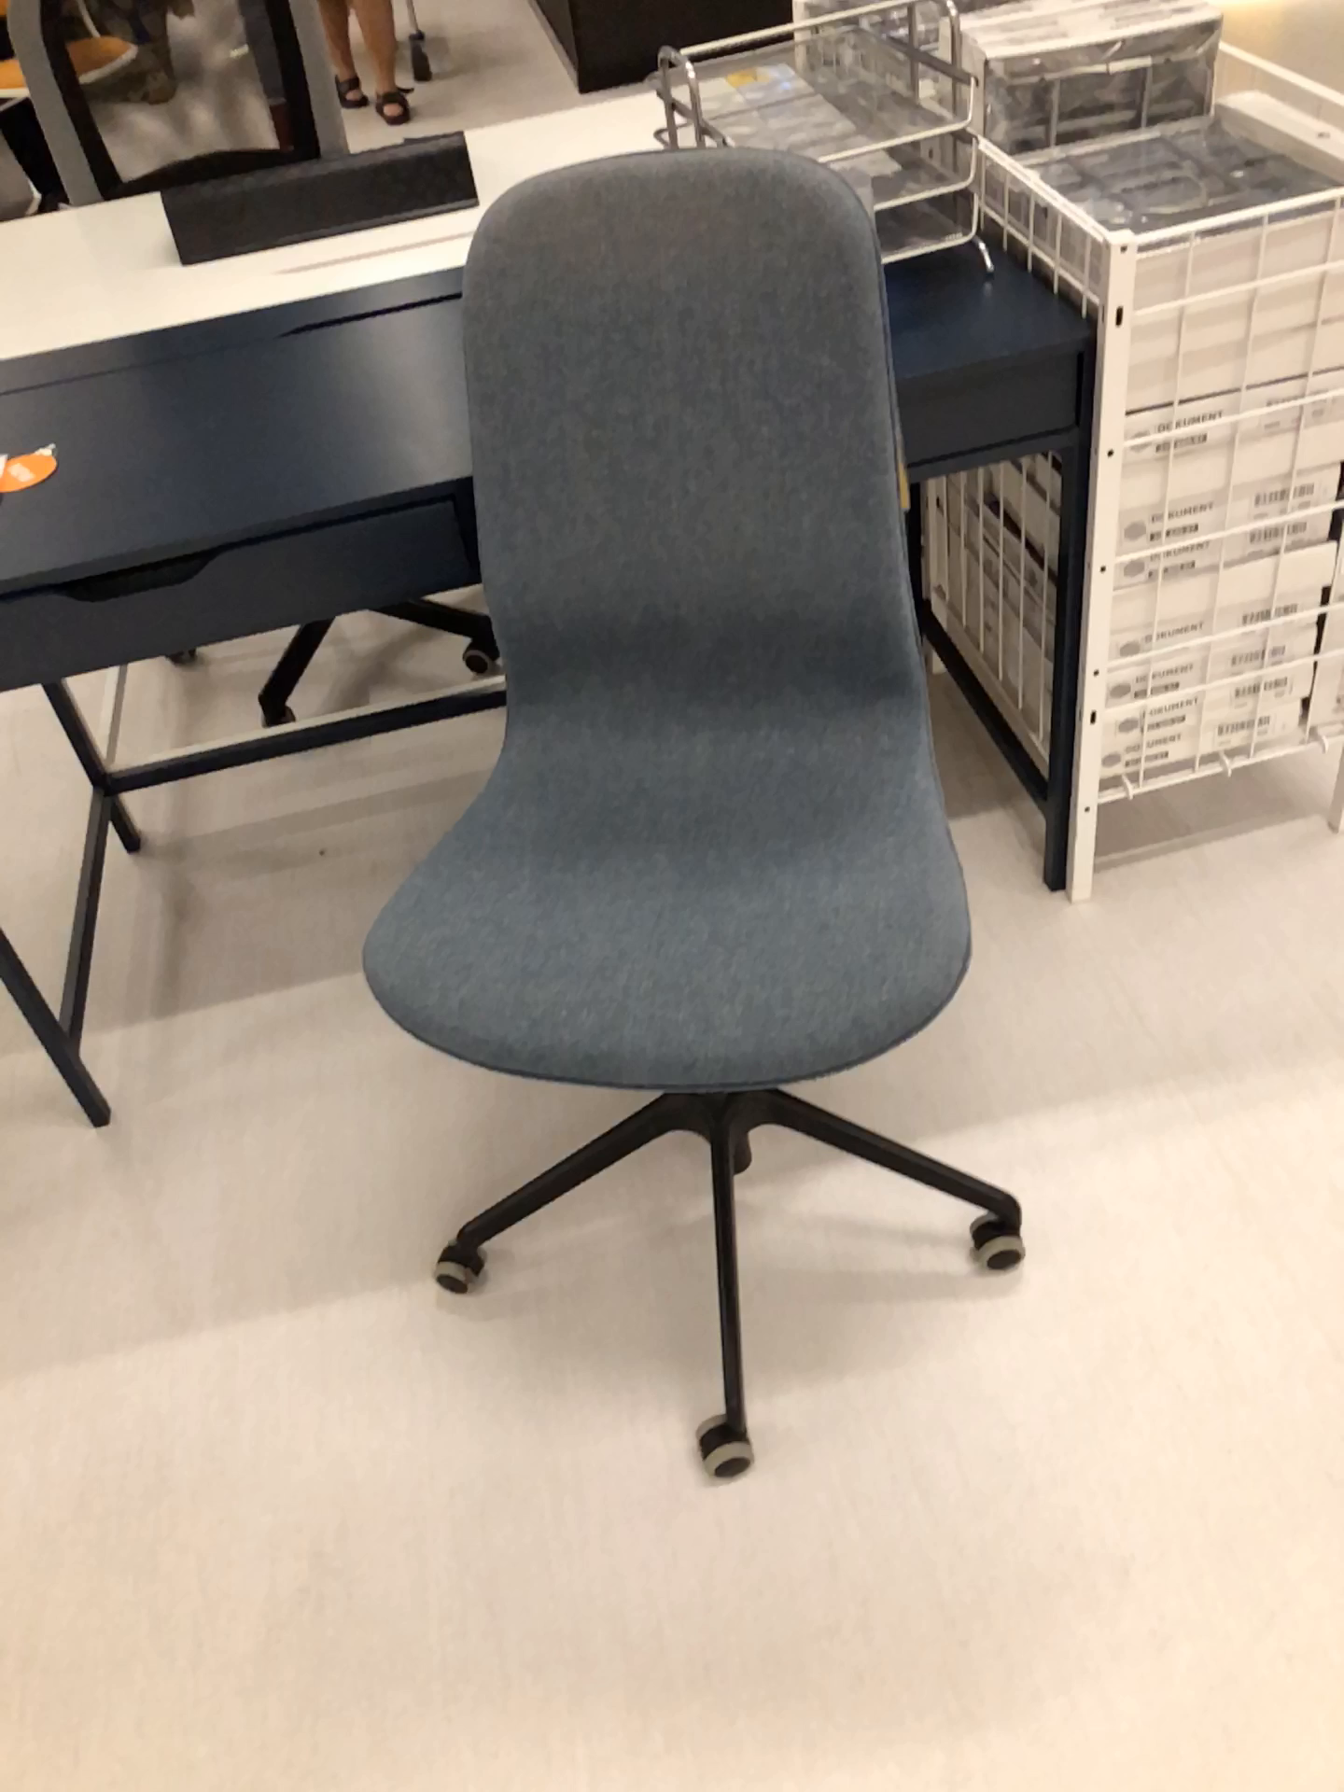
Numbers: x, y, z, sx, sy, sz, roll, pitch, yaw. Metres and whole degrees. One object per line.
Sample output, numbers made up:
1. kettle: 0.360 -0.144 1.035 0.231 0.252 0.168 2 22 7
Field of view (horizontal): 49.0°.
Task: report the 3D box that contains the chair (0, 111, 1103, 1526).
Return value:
1. chair: 0.016 -0.045 1.285 0.641 0.934 0.684 3 43 14
